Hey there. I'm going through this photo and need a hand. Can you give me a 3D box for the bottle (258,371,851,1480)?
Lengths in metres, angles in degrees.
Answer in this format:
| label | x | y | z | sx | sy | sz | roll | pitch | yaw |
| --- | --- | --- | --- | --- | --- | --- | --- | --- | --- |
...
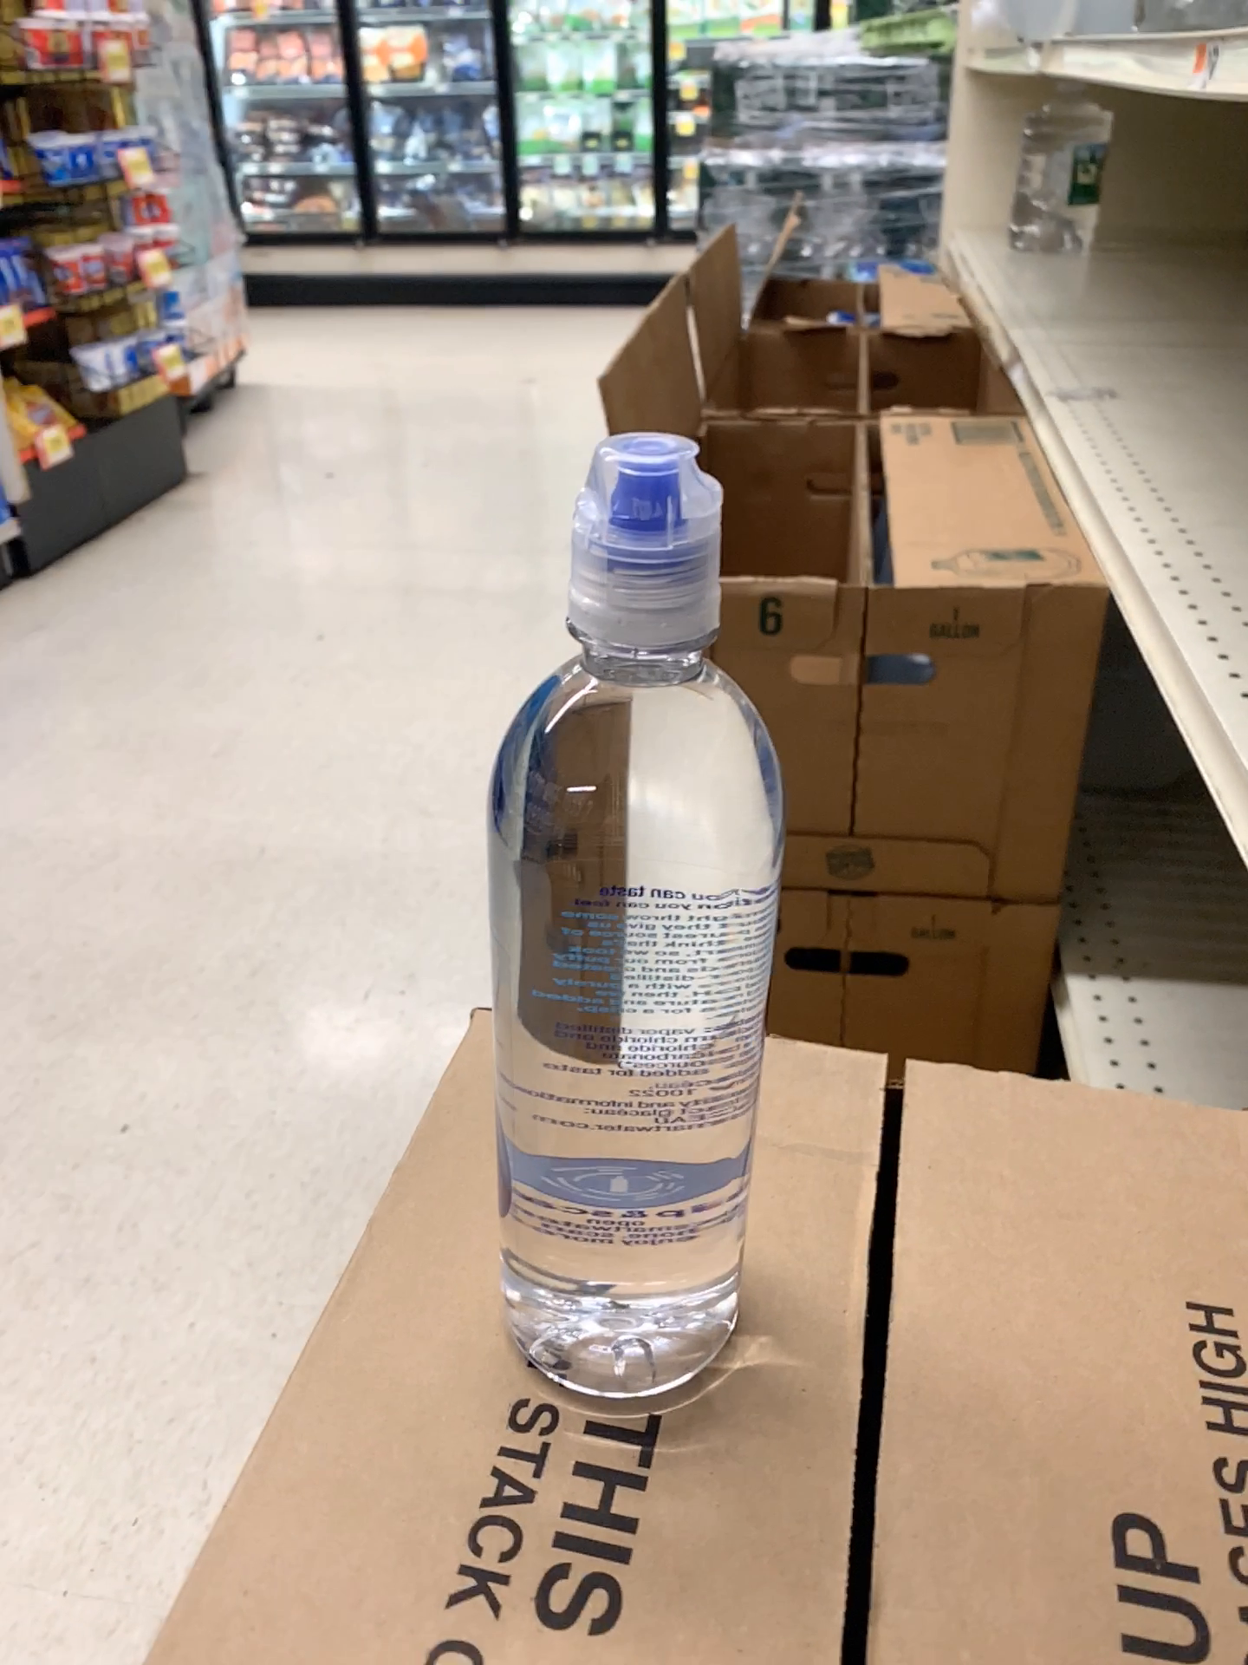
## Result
| label | x | y | z | sx | sy | sz | roll | pitch | yaw |
| --- | --- | --- | --- | --- | --- | --- | --- | --- | --- |
| bottle | -0.005 | 0.028 | 0.312 | 0.090 | 0.249 | 0.090 | -1 | 30 | 1 |
